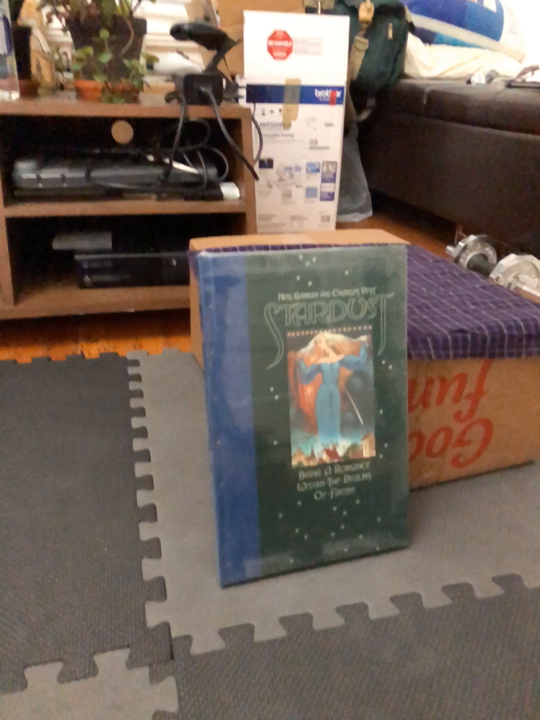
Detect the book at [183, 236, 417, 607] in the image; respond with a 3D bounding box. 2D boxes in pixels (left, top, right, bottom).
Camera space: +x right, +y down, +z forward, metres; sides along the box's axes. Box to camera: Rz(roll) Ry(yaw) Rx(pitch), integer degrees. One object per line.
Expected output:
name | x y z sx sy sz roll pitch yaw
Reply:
book | 0.037 0.056 0.561 0.210 0.329 0.020 -7 10 -16
